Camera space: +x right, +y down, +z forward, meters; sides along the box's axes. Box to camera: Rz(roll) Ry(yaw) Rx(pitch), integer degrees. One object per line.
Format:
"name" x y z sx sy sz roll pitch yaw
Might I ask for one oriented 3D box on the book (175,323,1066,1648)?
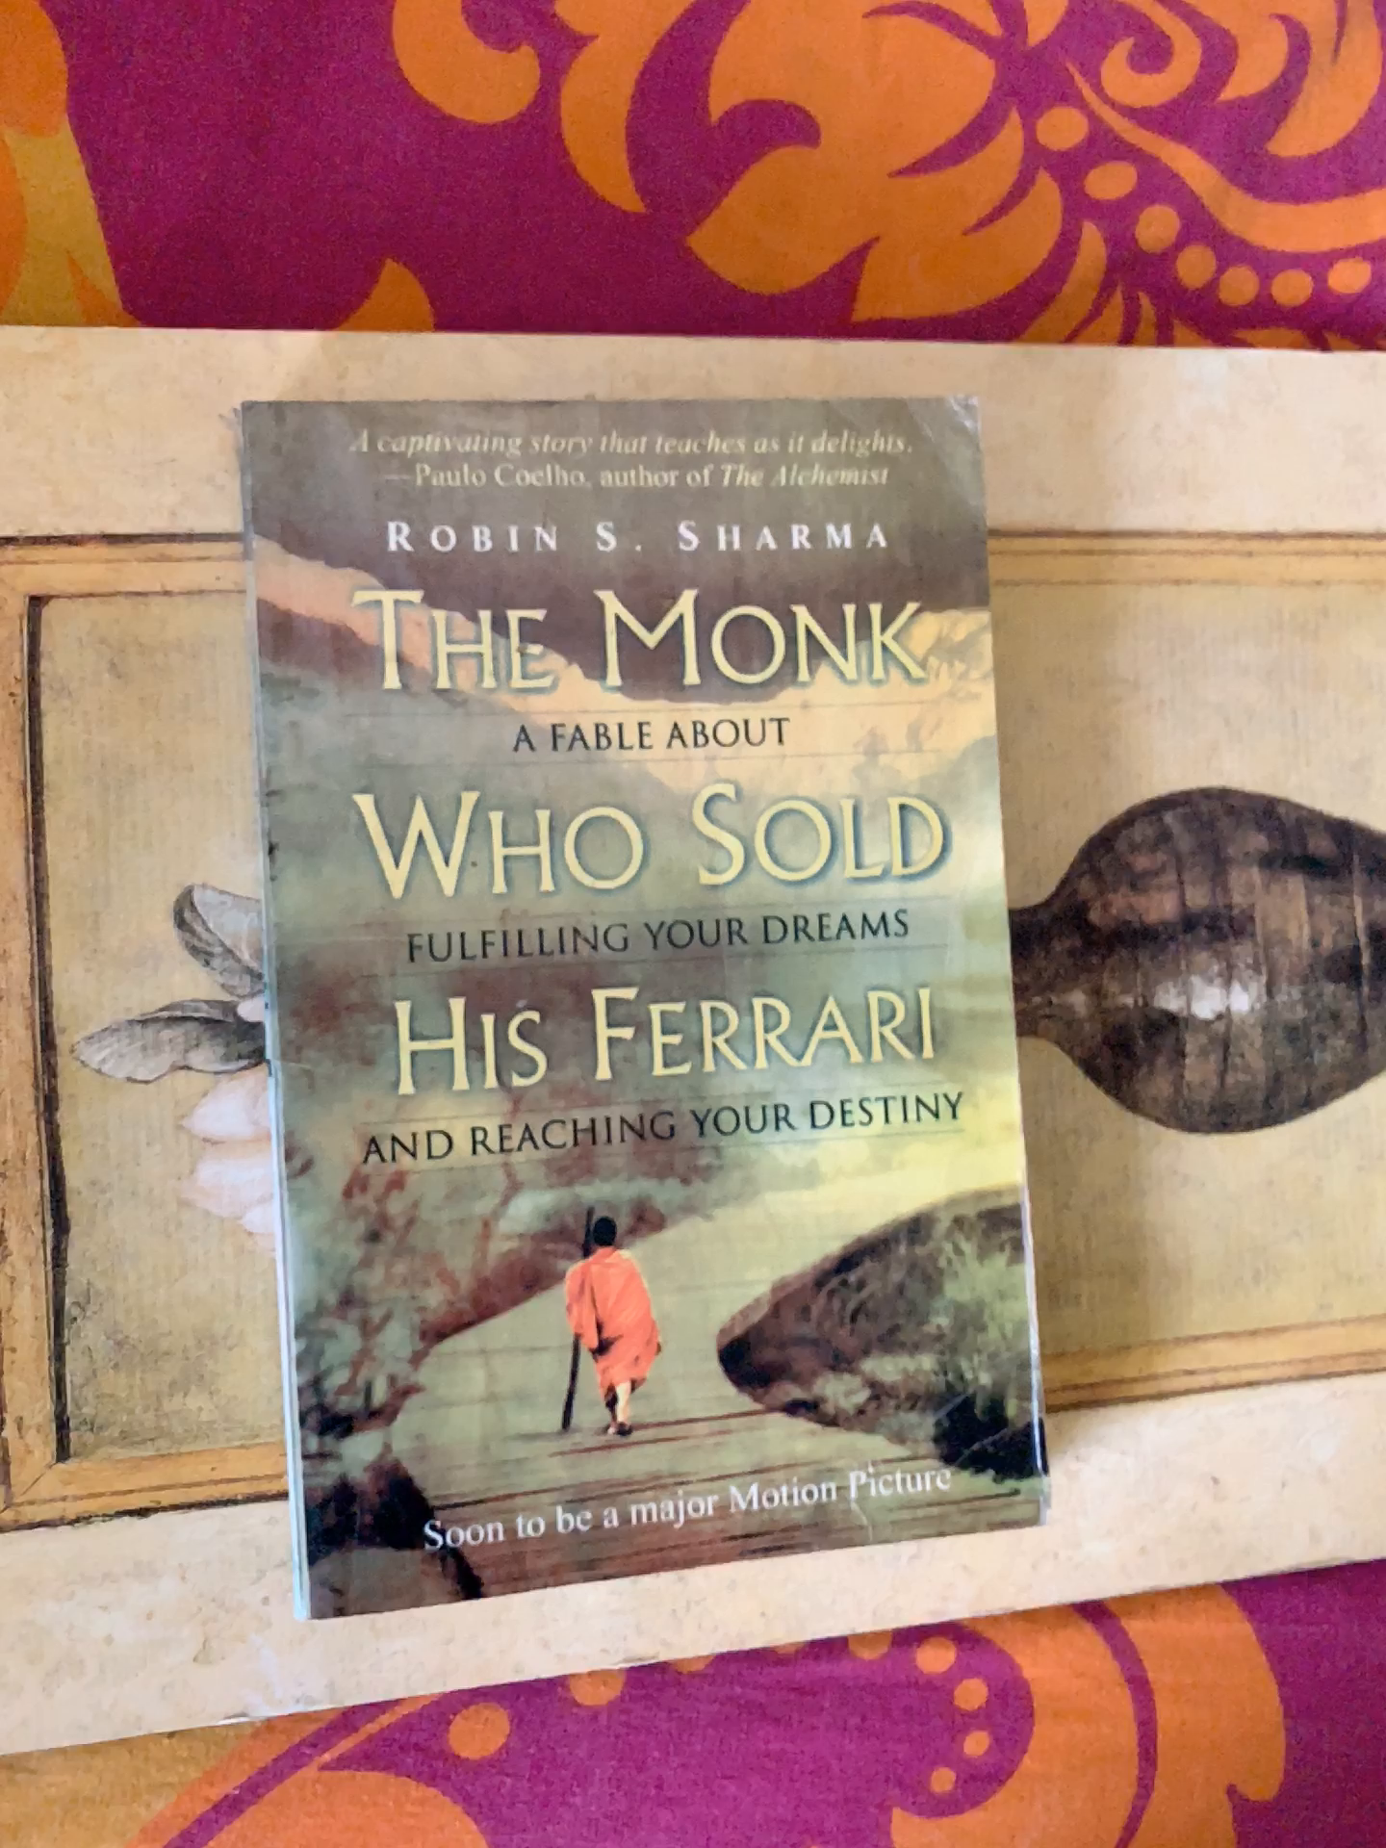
"book" -0.011 0.004 0.245 0.130 0.030 0.200 -4 88 -11
